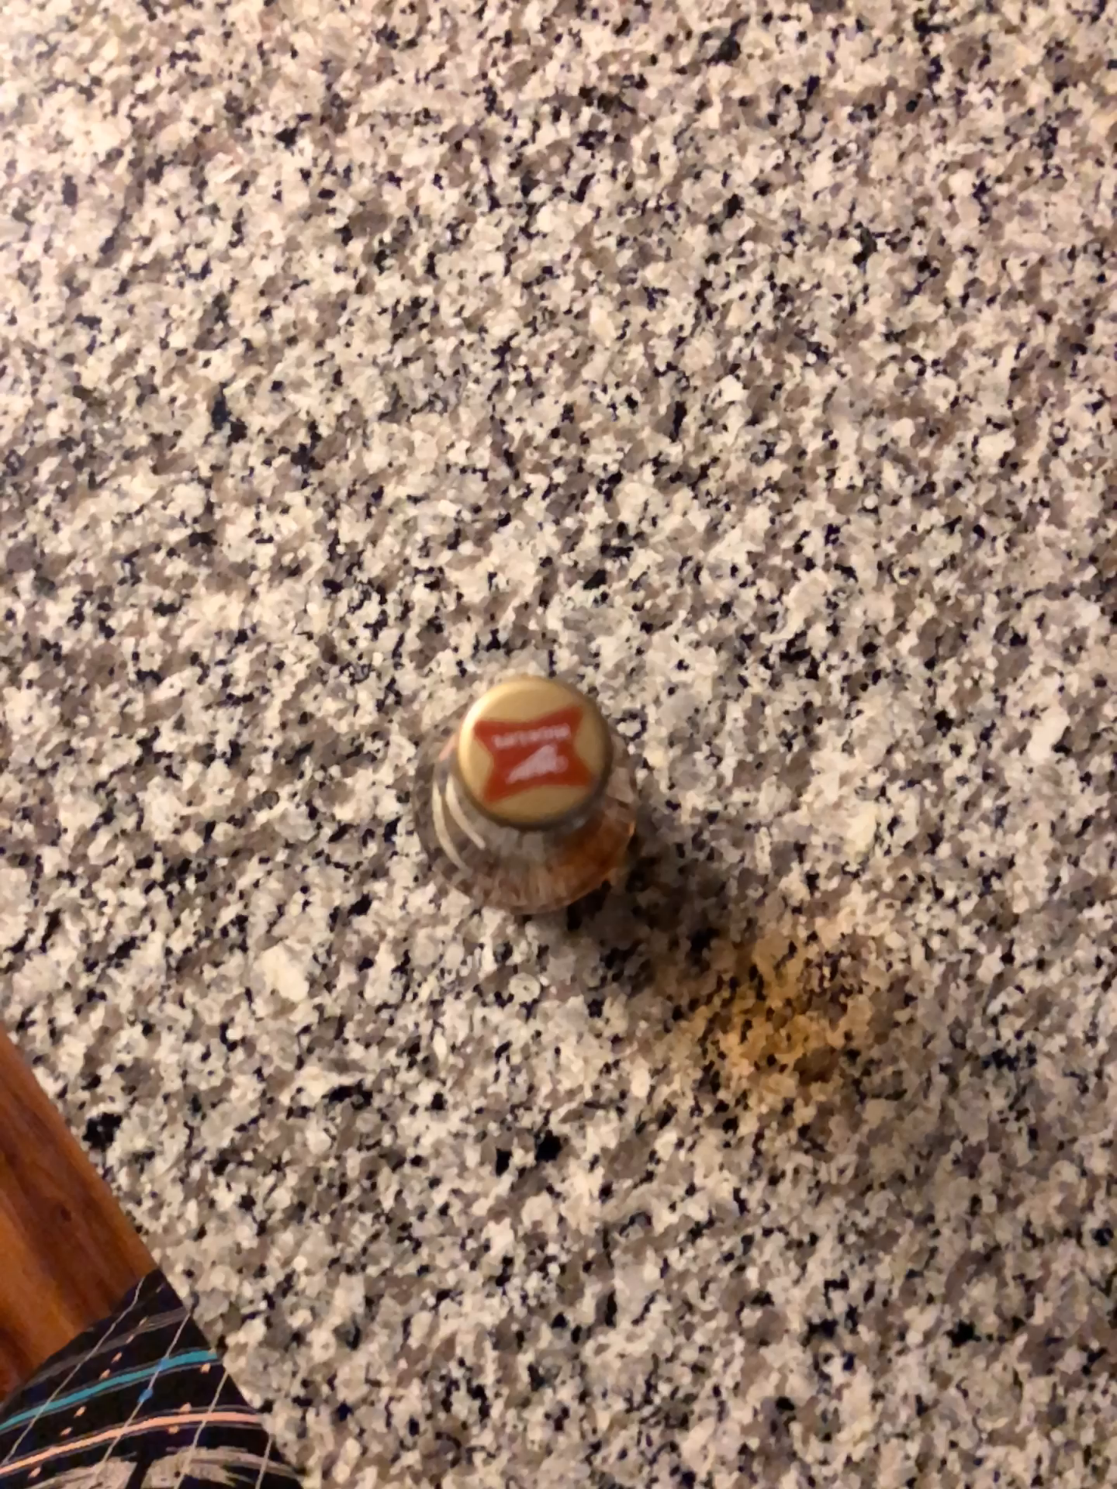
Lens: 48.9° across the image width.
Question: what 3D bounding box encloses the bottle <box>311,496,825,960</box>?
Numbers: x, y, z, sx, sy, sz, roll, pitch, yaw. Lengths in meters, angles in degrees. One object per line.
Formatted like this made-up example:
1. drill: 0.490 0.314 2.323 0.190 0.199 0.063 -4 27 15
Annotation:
1. bottle: 0.000 0.008 0.309 0.070 0.230 0.060 13 85 0
